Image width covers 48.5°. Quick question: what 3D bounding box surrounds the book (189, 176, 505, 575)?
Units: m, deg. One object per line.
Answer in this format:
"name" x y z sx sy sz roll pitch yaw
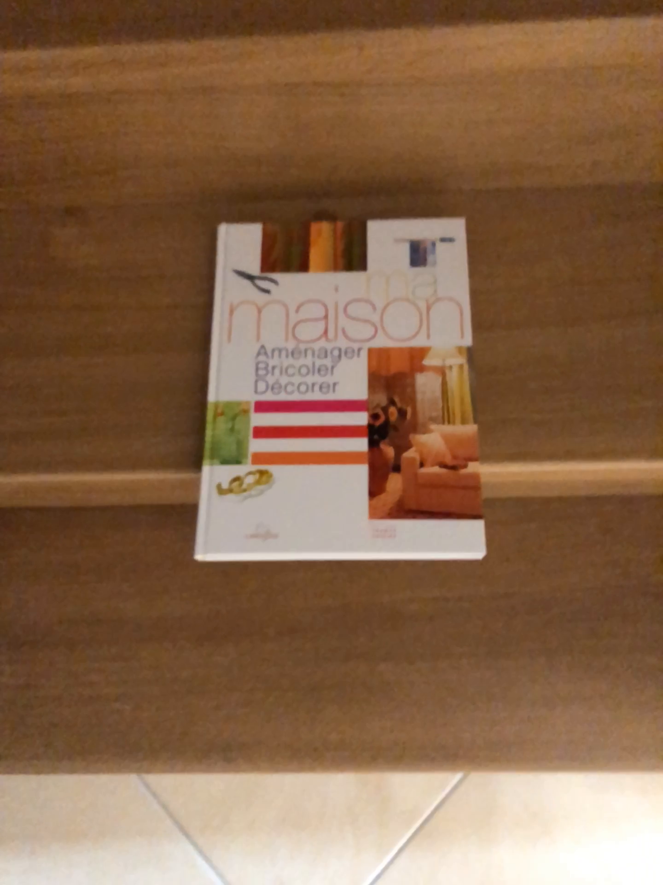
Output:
"book" 0.010 -0.059 0.556 0.210 0.030 0.311 -1 70 3
